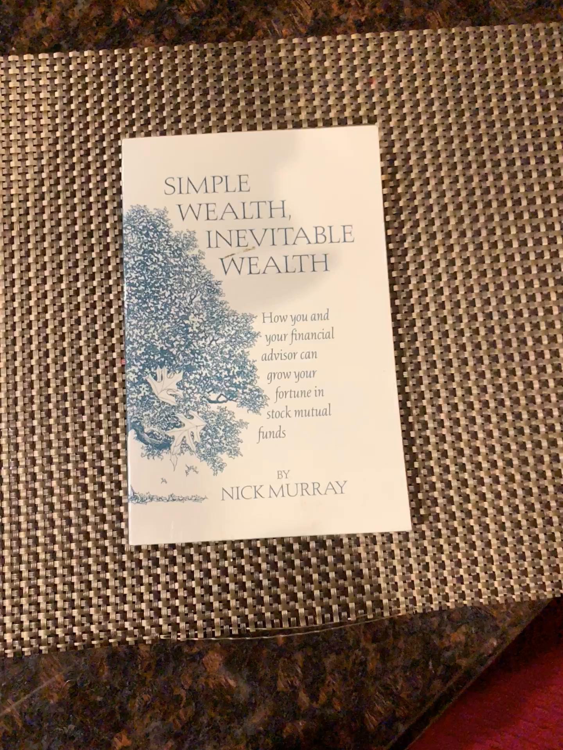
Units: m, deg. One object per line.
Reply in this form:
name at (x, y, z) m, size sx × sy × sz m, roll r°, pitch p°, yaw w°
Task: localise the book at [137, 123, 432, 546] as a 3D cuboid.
book at (-0.001, -0.023, 0.303) m, size 0.140 × 0.021 × 0.210 m, roll -2°, pitch 83°, yaw 0°
